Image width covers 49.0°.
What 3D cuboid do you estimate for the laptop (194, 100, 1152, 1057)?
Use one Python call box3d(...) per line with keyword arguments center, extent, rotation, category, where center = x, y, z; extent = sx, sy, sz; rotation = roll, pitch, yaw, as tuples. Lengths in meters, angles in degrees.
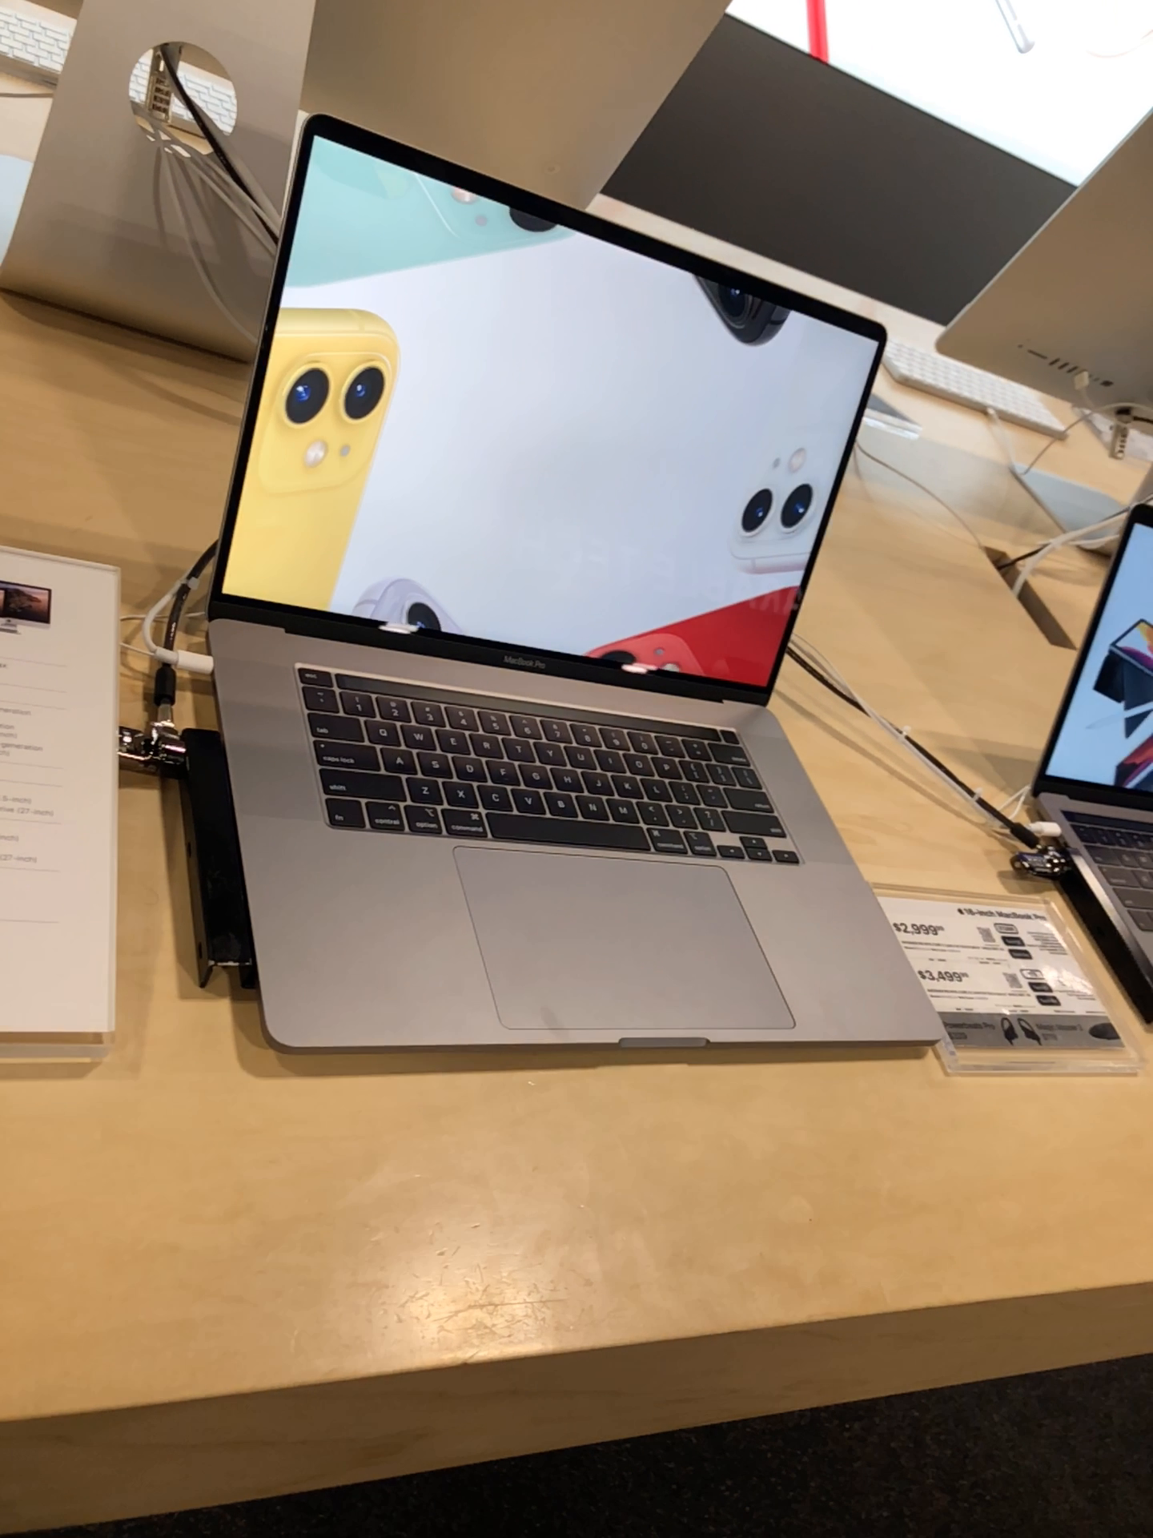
box3d(center=(0.029, -0.080, 0.605), extent=(0.336, 0.204, 0.350), rotation=(8, 44, -28), category="laptop")
